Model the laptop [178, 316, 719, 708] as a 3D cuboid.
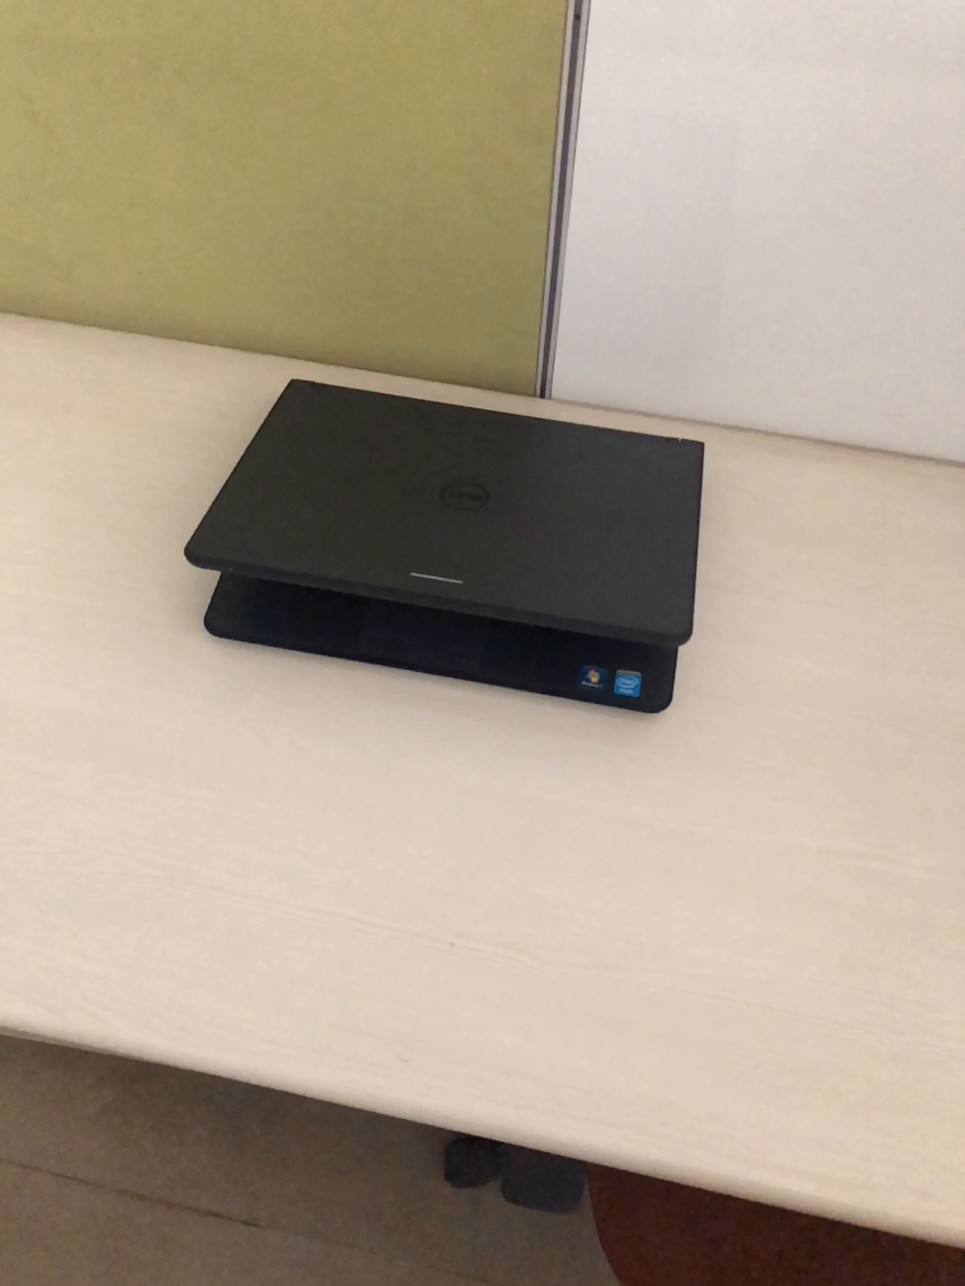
[{"bbox_3d":[-0.012,-0.100,0.740,0.322,0.073,0.230,10,58,5],"label":"laptop"}]
